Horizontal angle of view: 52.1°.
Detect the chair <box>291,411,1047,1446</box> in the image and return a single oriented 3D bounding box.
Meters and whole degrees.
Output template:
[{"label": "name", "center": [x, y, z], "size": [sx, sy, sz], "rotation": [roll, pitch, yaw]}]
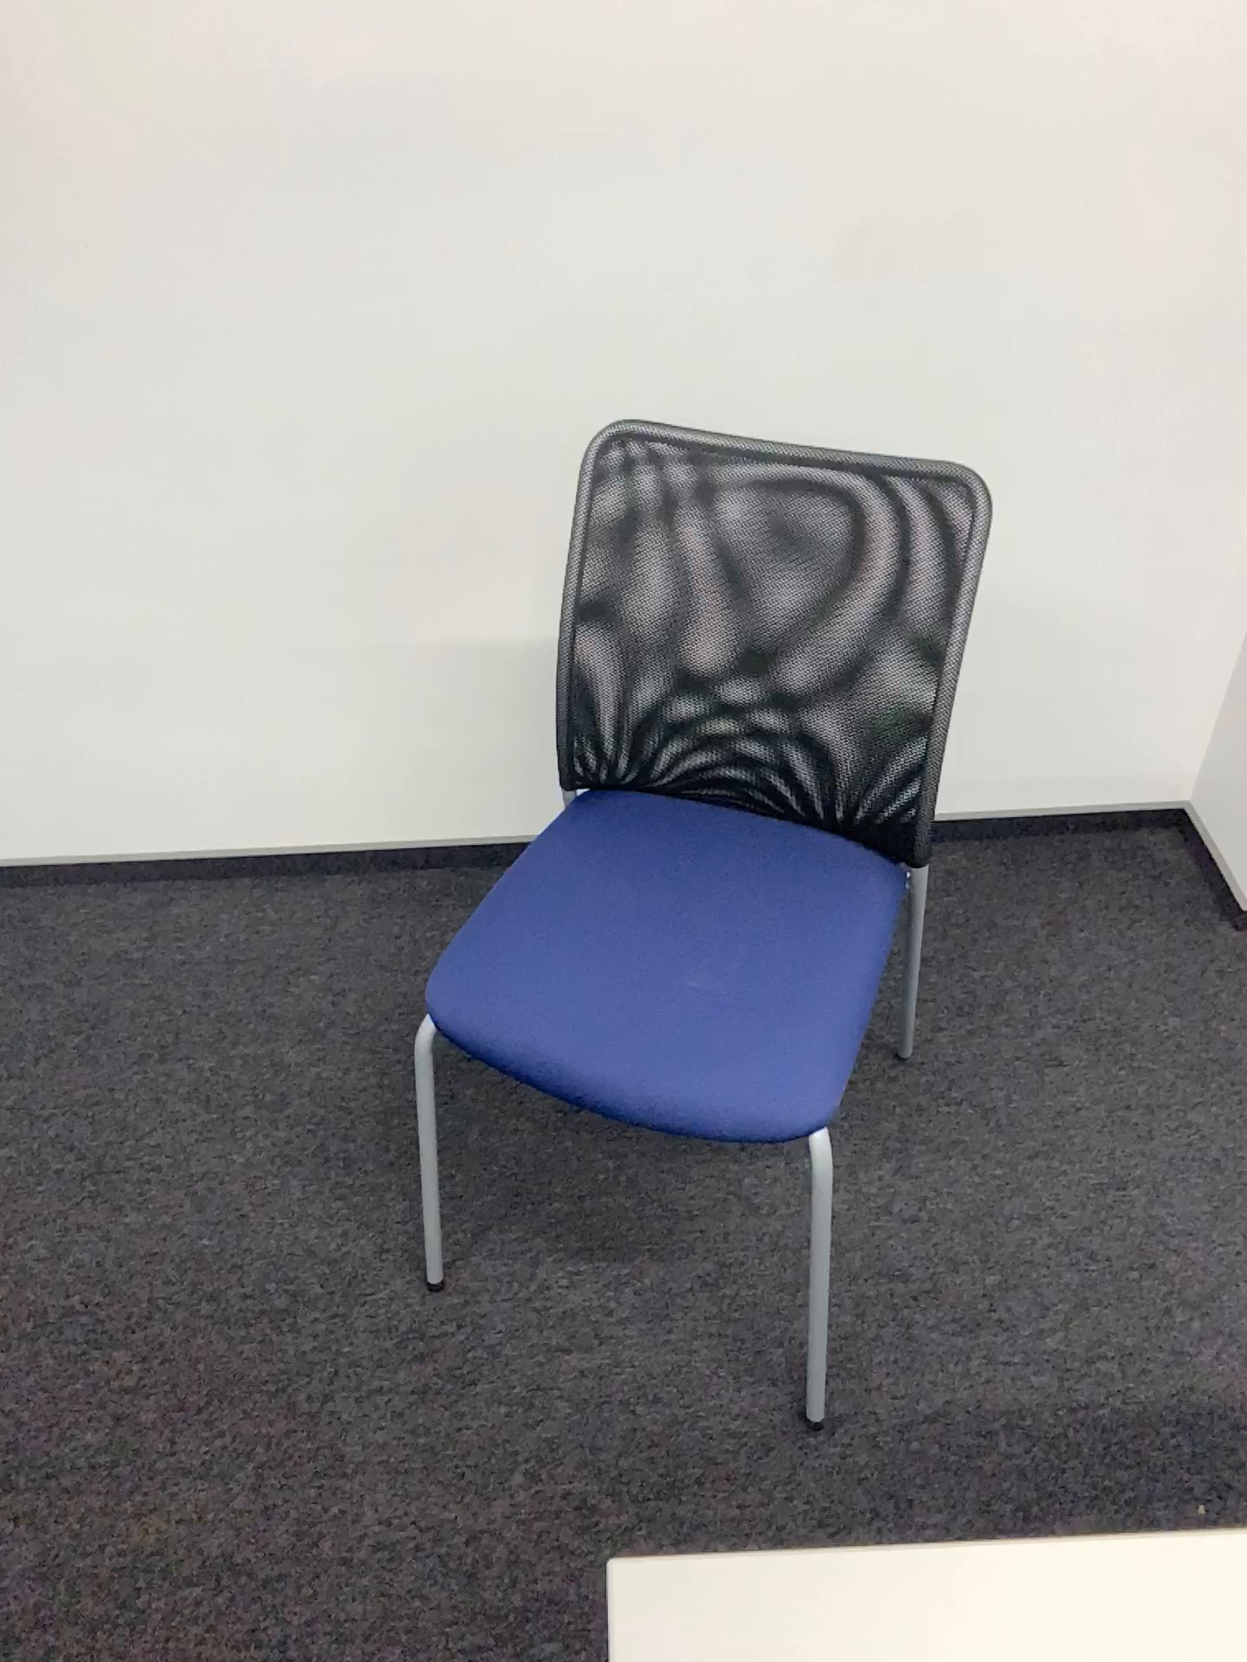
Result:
[{"label": "chair", "center": [0.088, 0.101, 1.400], "size": [0.490, 0.865, 0.593], "rotation": [14, 41, 18]}]
